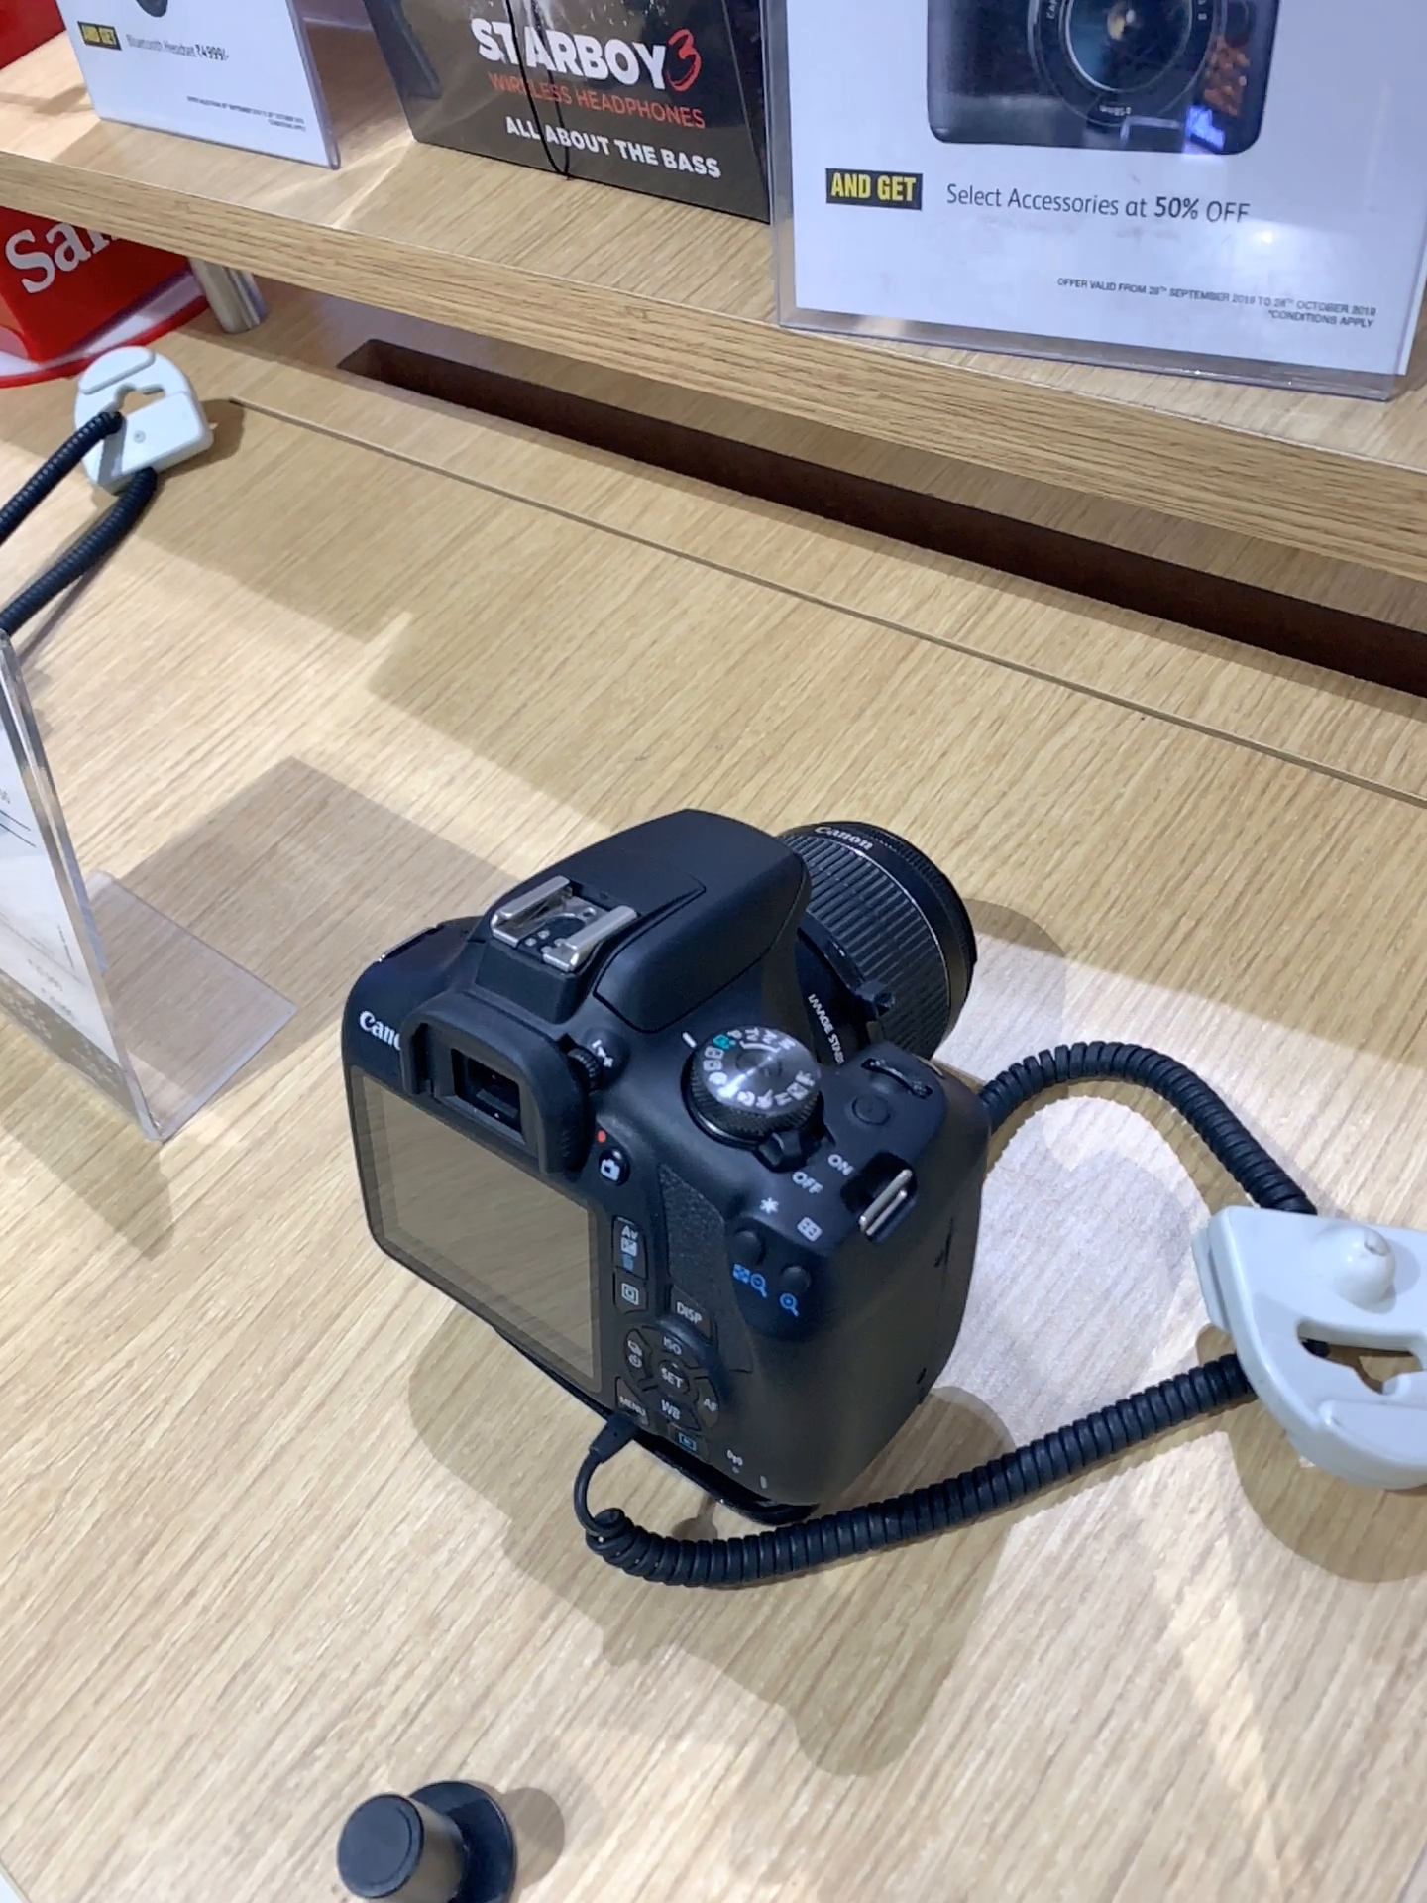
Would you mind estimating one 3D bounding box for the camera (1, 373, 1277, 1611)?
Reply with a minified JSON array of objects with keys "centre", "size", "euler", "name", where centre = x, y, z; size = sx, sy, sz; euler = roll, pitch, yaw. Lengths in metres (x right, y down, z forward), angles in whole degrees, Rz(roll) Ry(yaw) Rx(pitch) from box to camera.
[{"centre":[-0.002,-0.003,0.275],"size":[0.140,0.110,0.160],"euler":[25,63,30],"name":"camera"}]
